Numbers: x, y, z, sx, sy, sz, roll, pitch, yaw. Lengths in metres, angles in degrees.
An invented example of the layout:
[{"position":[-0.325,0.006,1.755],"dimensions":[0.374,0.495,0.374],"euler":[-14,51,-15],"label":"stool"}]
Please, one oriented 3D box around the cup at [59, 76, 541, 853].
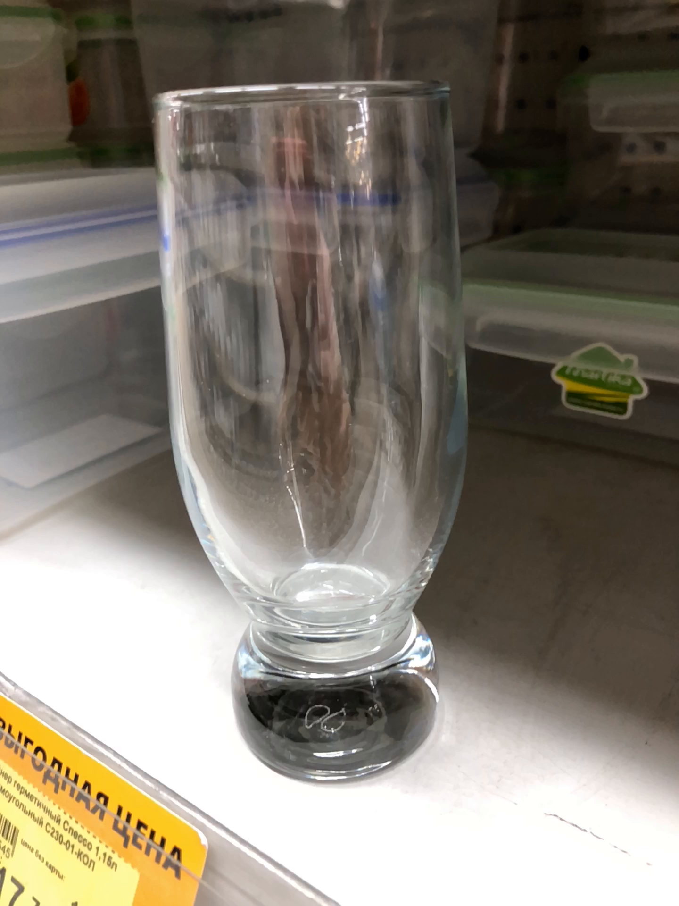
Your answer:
[{"position":[-0.003,-0.001,0.171],"dimensions":[0.057,0.146,0.069],"euler":[19,32,39],"label":"cup"}]
